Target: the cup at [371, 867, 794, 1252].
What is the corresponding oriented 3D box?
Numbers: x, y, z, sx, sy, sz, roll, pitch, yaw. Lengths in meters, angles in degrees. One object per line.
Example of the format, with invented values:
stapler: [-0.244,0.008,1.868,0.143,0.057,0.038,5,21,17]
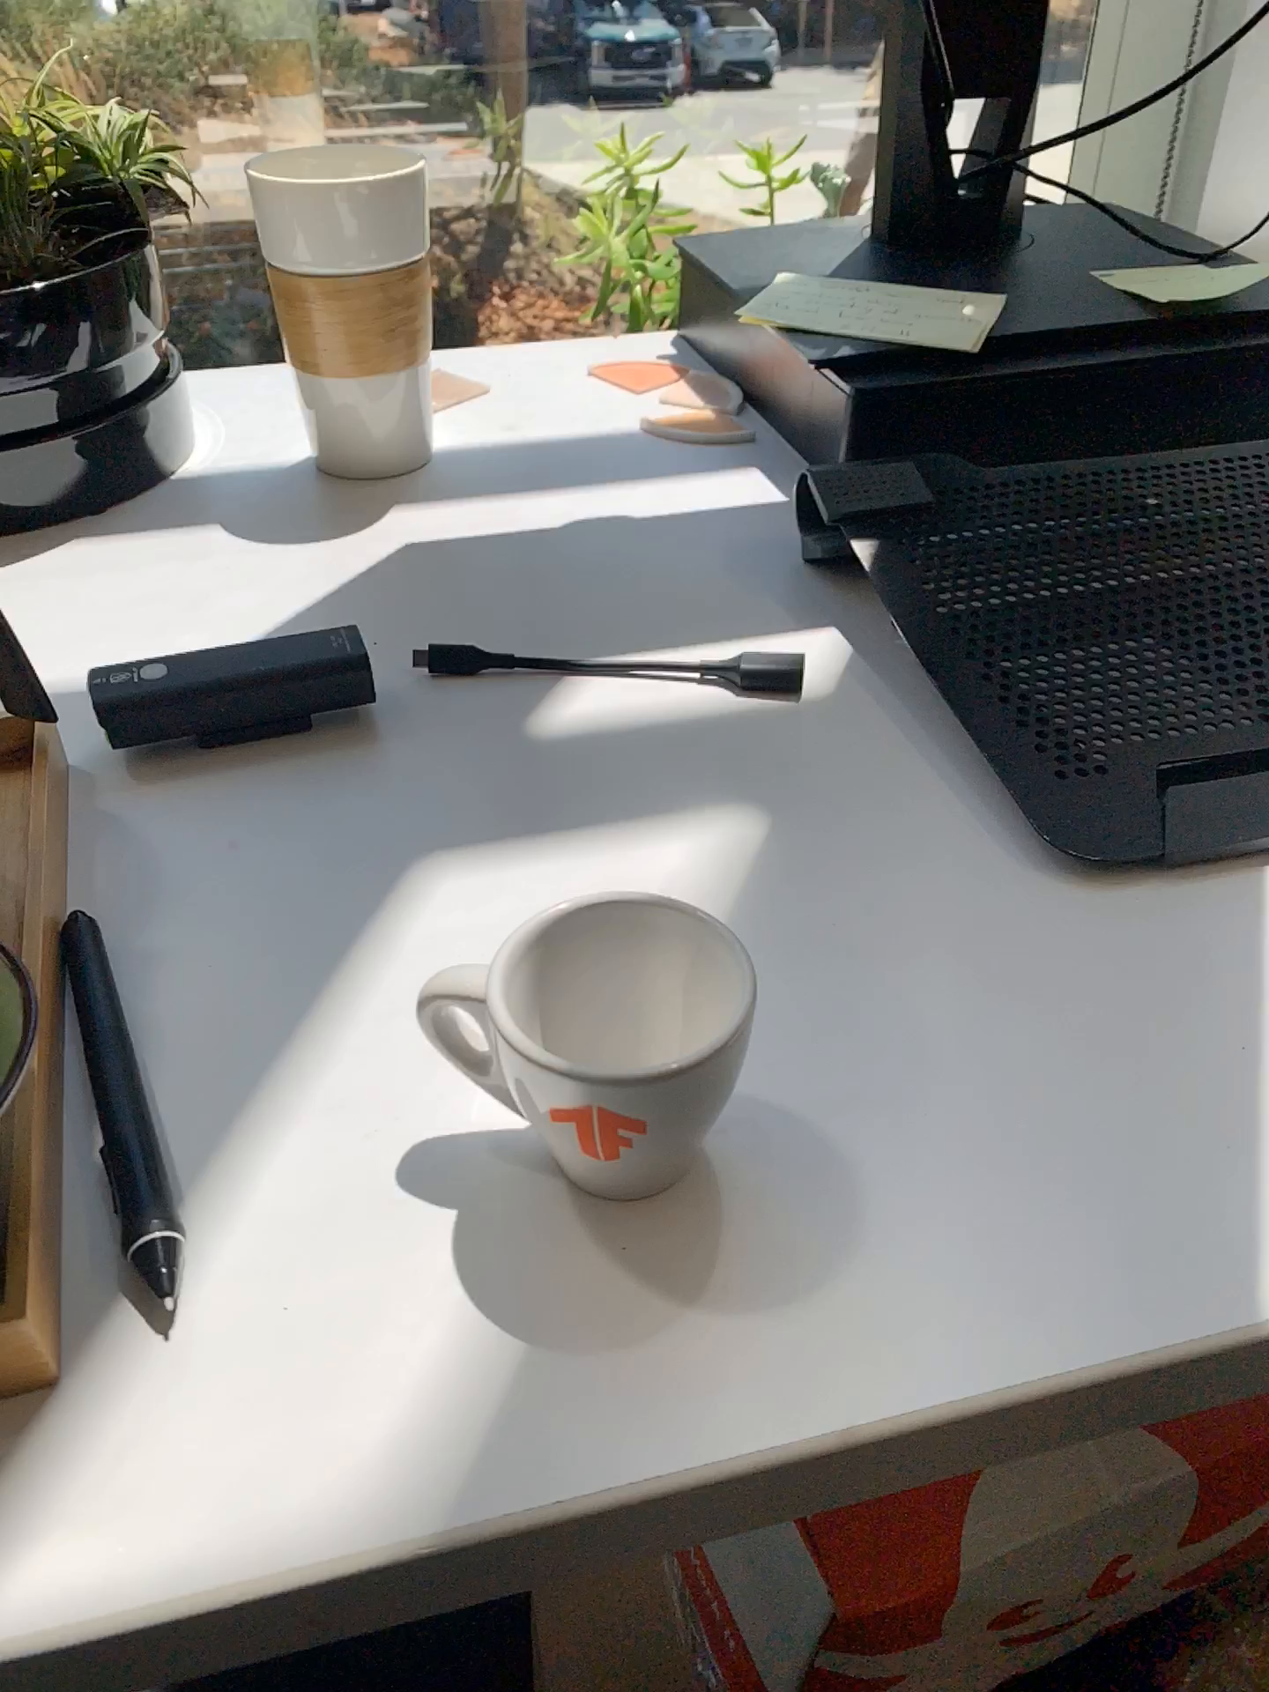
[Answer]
cup: [-0.010,0.052,0.331,0.090,0.060,0.060,6,38,9]
